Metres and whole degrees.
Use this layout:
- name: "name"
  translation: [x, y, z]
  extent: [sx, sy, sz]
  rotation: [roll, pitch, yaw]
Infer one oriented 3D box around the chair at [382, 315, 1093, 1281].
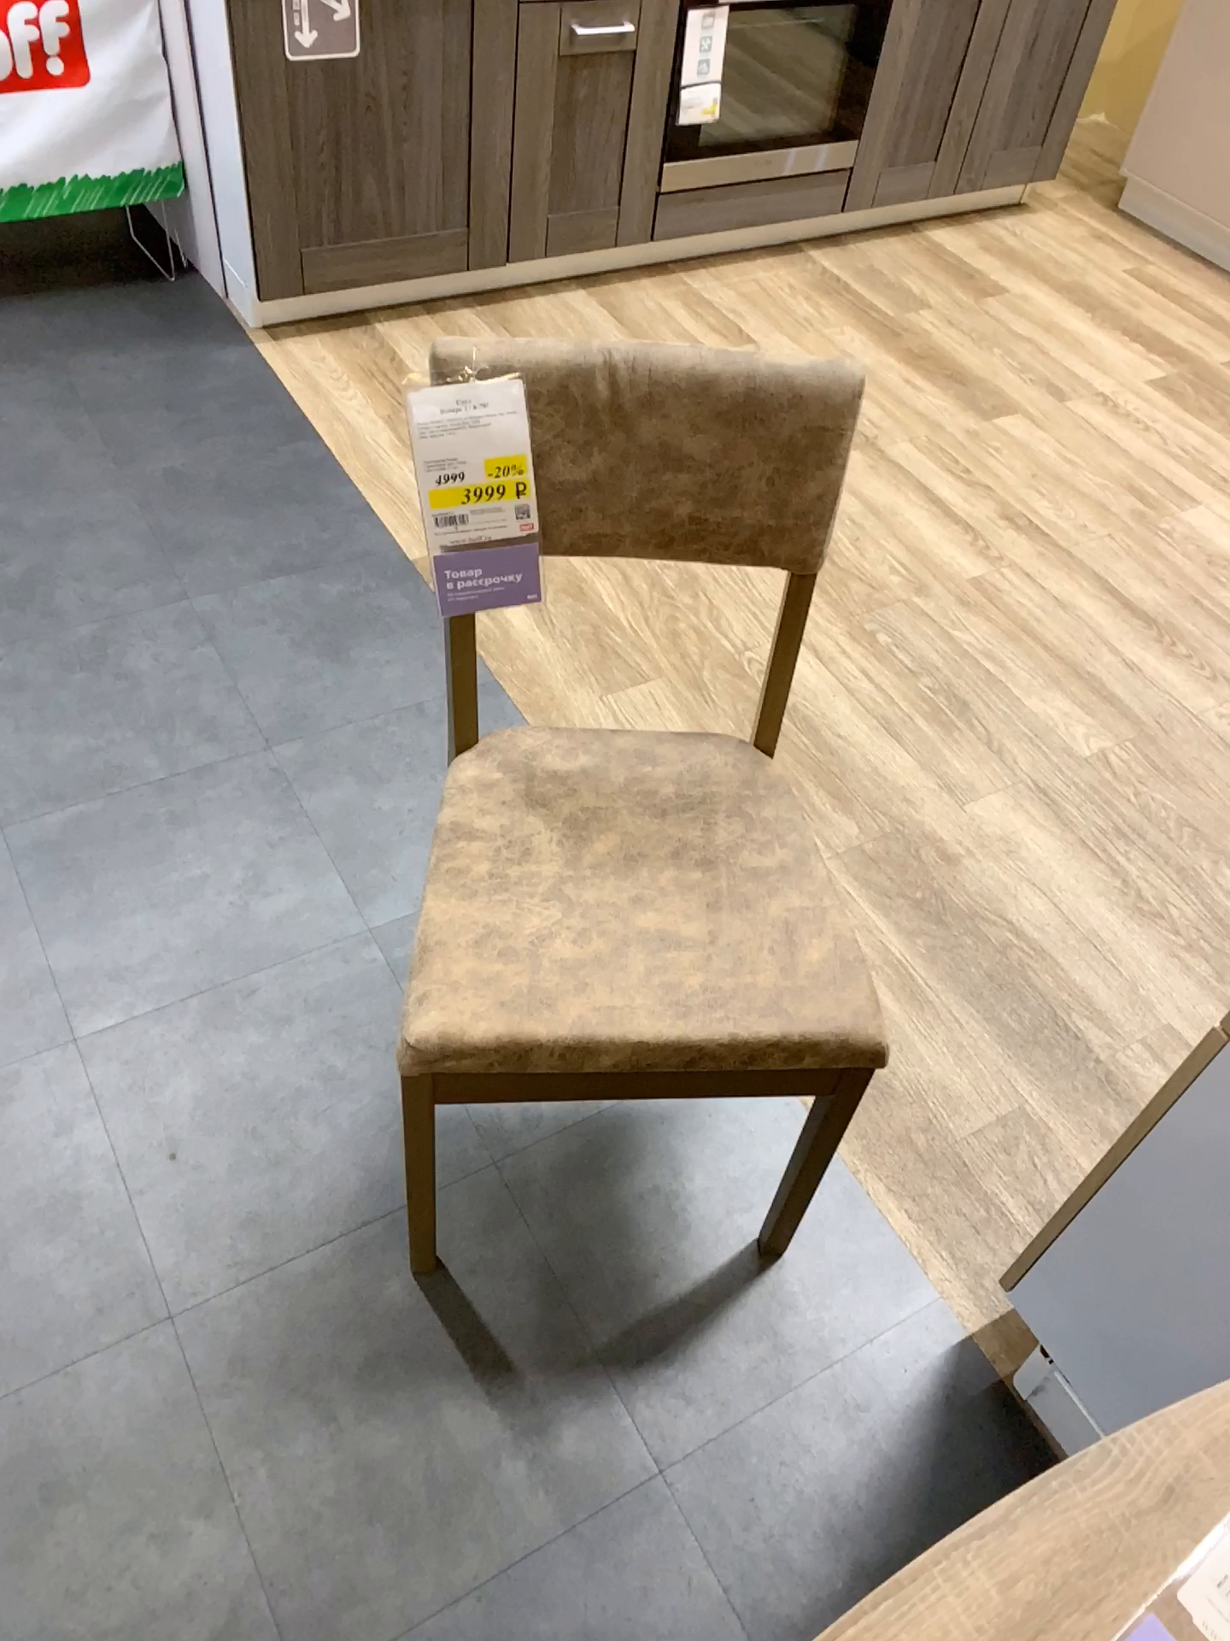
- name: "chair"
  translation: [0.020, 0.044, 1.340]
  extent: [0.480, 0.926, 0.512]
  rotation: [1, 48, -8]
